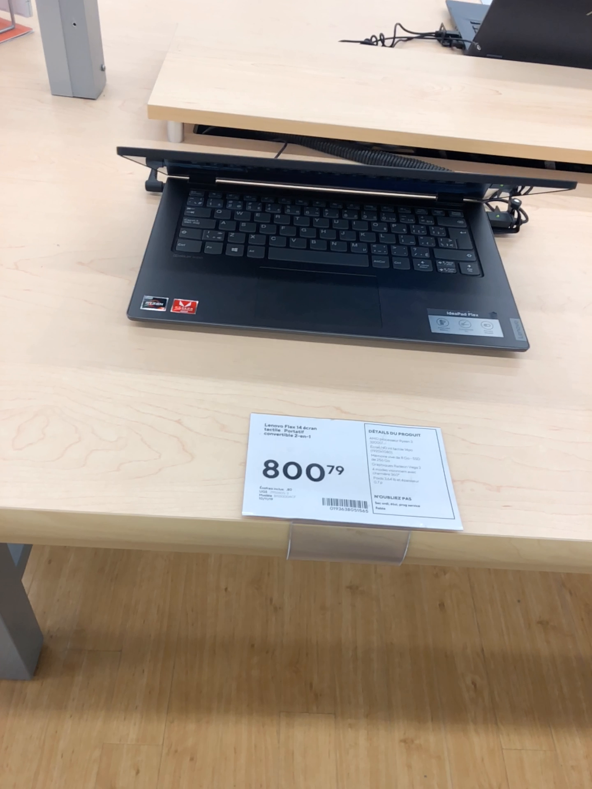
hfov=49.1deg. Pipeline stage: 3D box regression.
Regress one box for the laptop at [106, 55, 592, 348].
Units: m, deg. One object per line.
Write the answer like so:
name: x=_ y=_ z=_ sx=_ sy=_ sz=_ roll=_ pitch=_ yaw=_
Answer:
laptop: x=0.038 y=-0.173 z=0.559 sx=0.331 sy=0.121 sz=0.229 roll=4 pitch=46 yaw=-3
